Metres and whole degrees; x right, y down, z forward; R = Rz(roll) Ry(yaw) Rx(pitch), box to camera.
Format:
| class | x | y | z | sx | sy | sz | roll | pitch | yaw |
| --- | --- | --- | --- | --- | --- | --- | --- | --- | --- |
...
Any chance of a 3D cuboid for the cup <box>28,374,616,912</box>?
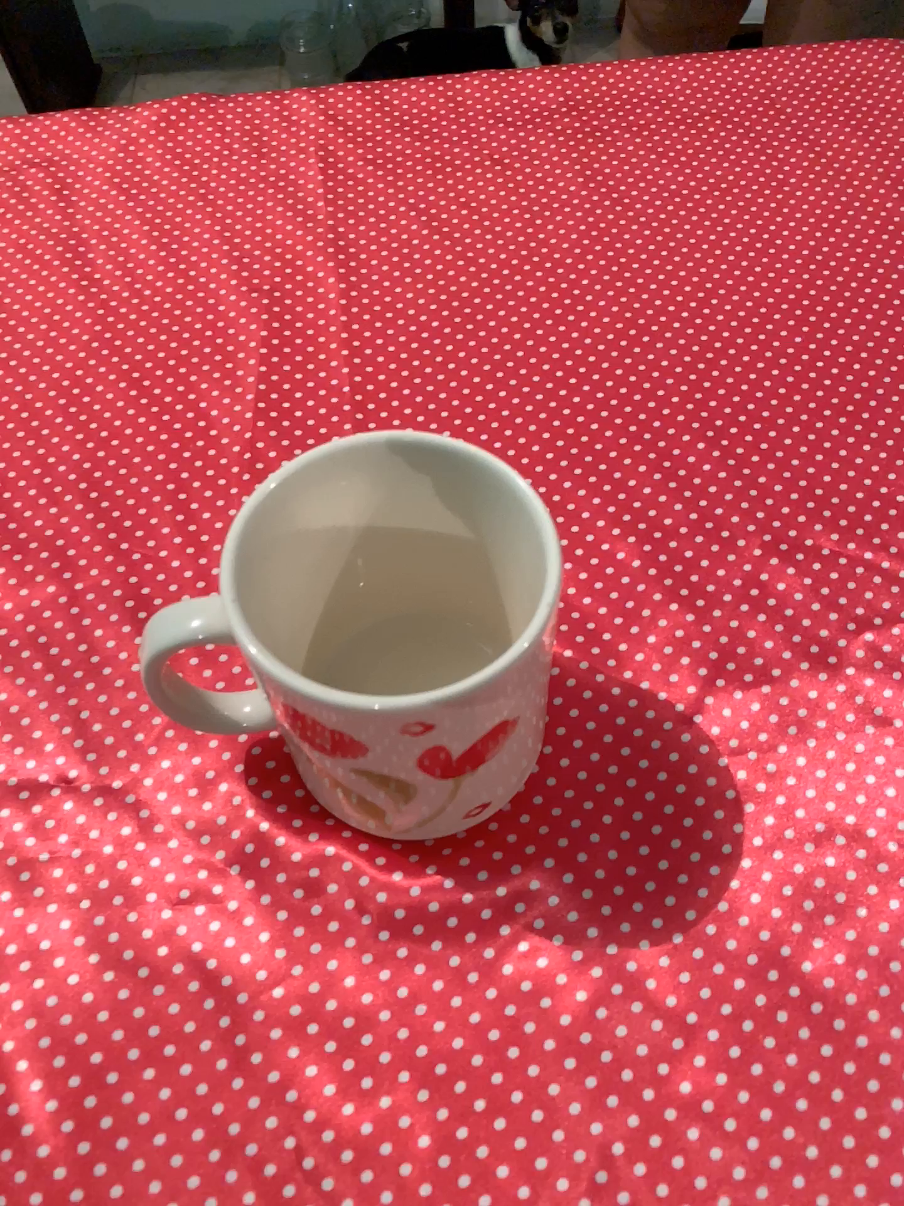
| class | x | y | z | sx | sy | sz | roll | pitch | yaw |
| --- | --- | --- | --- | --- | --- | --- | --- | --- | --- |
| cup | -0.032 | 0.013 | 0.249 | 0.120 | 0.090 | 0.090 | -11 | 58 | -4 |
